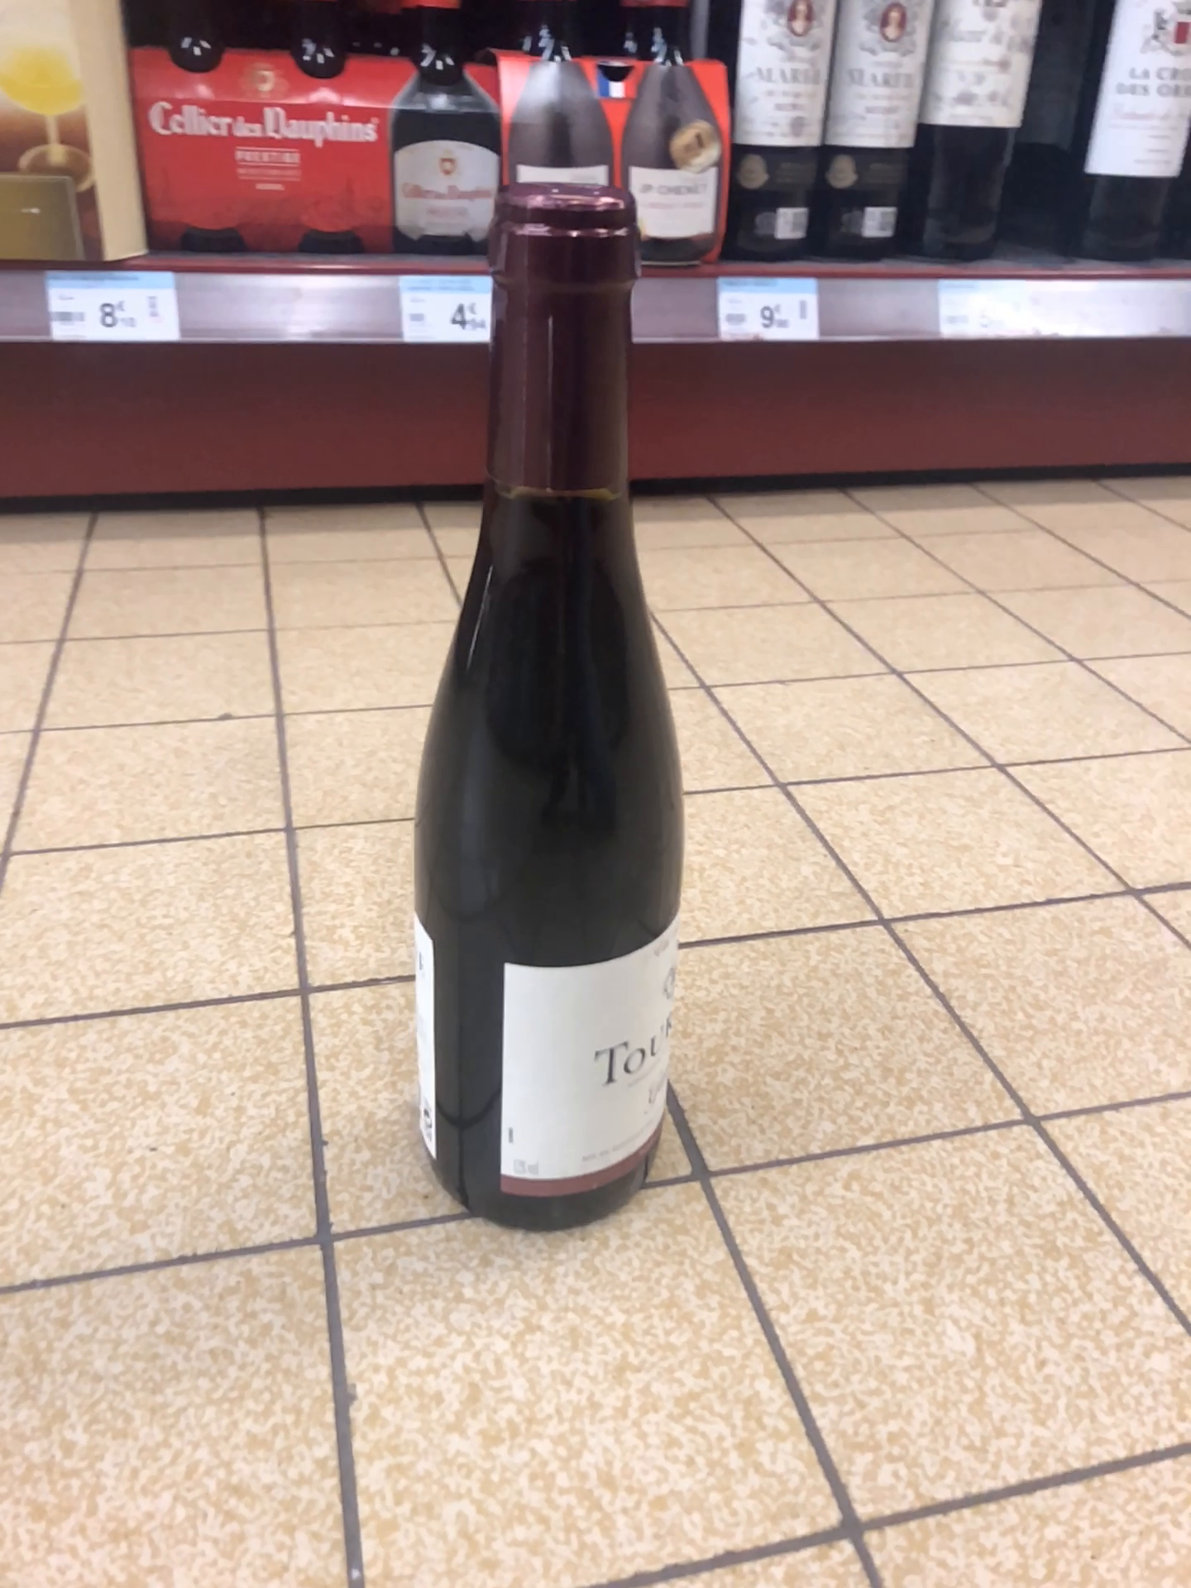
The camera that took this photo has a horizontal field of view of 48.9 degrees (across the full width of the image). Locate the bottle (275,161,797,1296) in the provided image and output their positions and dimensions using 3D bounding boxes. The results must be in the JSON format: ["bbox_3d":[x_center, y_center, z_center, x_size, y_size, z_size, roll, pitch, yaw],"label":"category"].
[{"bbox_3d":[-0.012,-0.010,0.302,0.070,0.239,0.081,14,30,19],"label":"bottle"}]
